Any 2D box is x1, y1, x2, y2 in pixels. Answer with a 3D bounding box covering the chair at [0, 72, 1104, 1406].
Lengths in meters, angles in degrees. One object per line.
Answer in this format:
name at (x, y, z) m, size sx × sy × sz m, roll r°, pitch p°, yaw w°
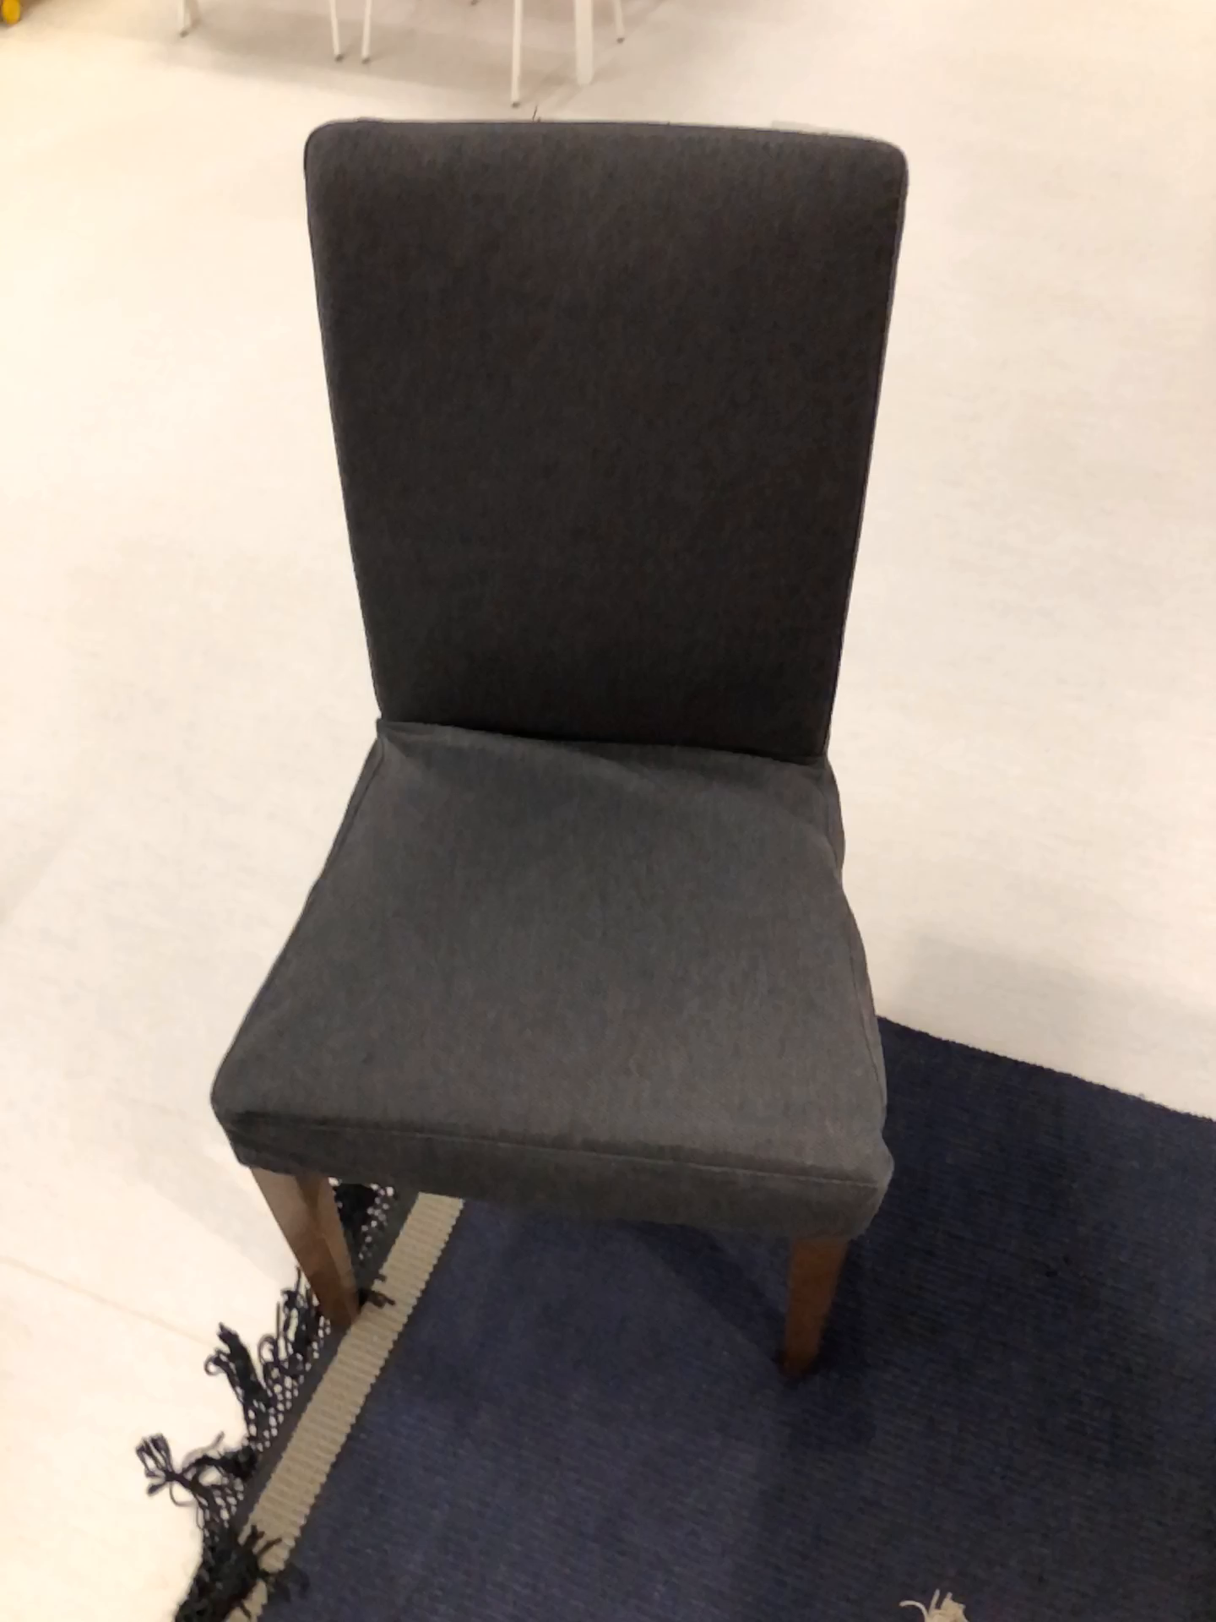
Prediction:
chair at (-0.020, 0.021, 1.113) m, size 0.540 × 0.964 × 0.553 m, roll 5°, pitch 50°, yaw 6°
